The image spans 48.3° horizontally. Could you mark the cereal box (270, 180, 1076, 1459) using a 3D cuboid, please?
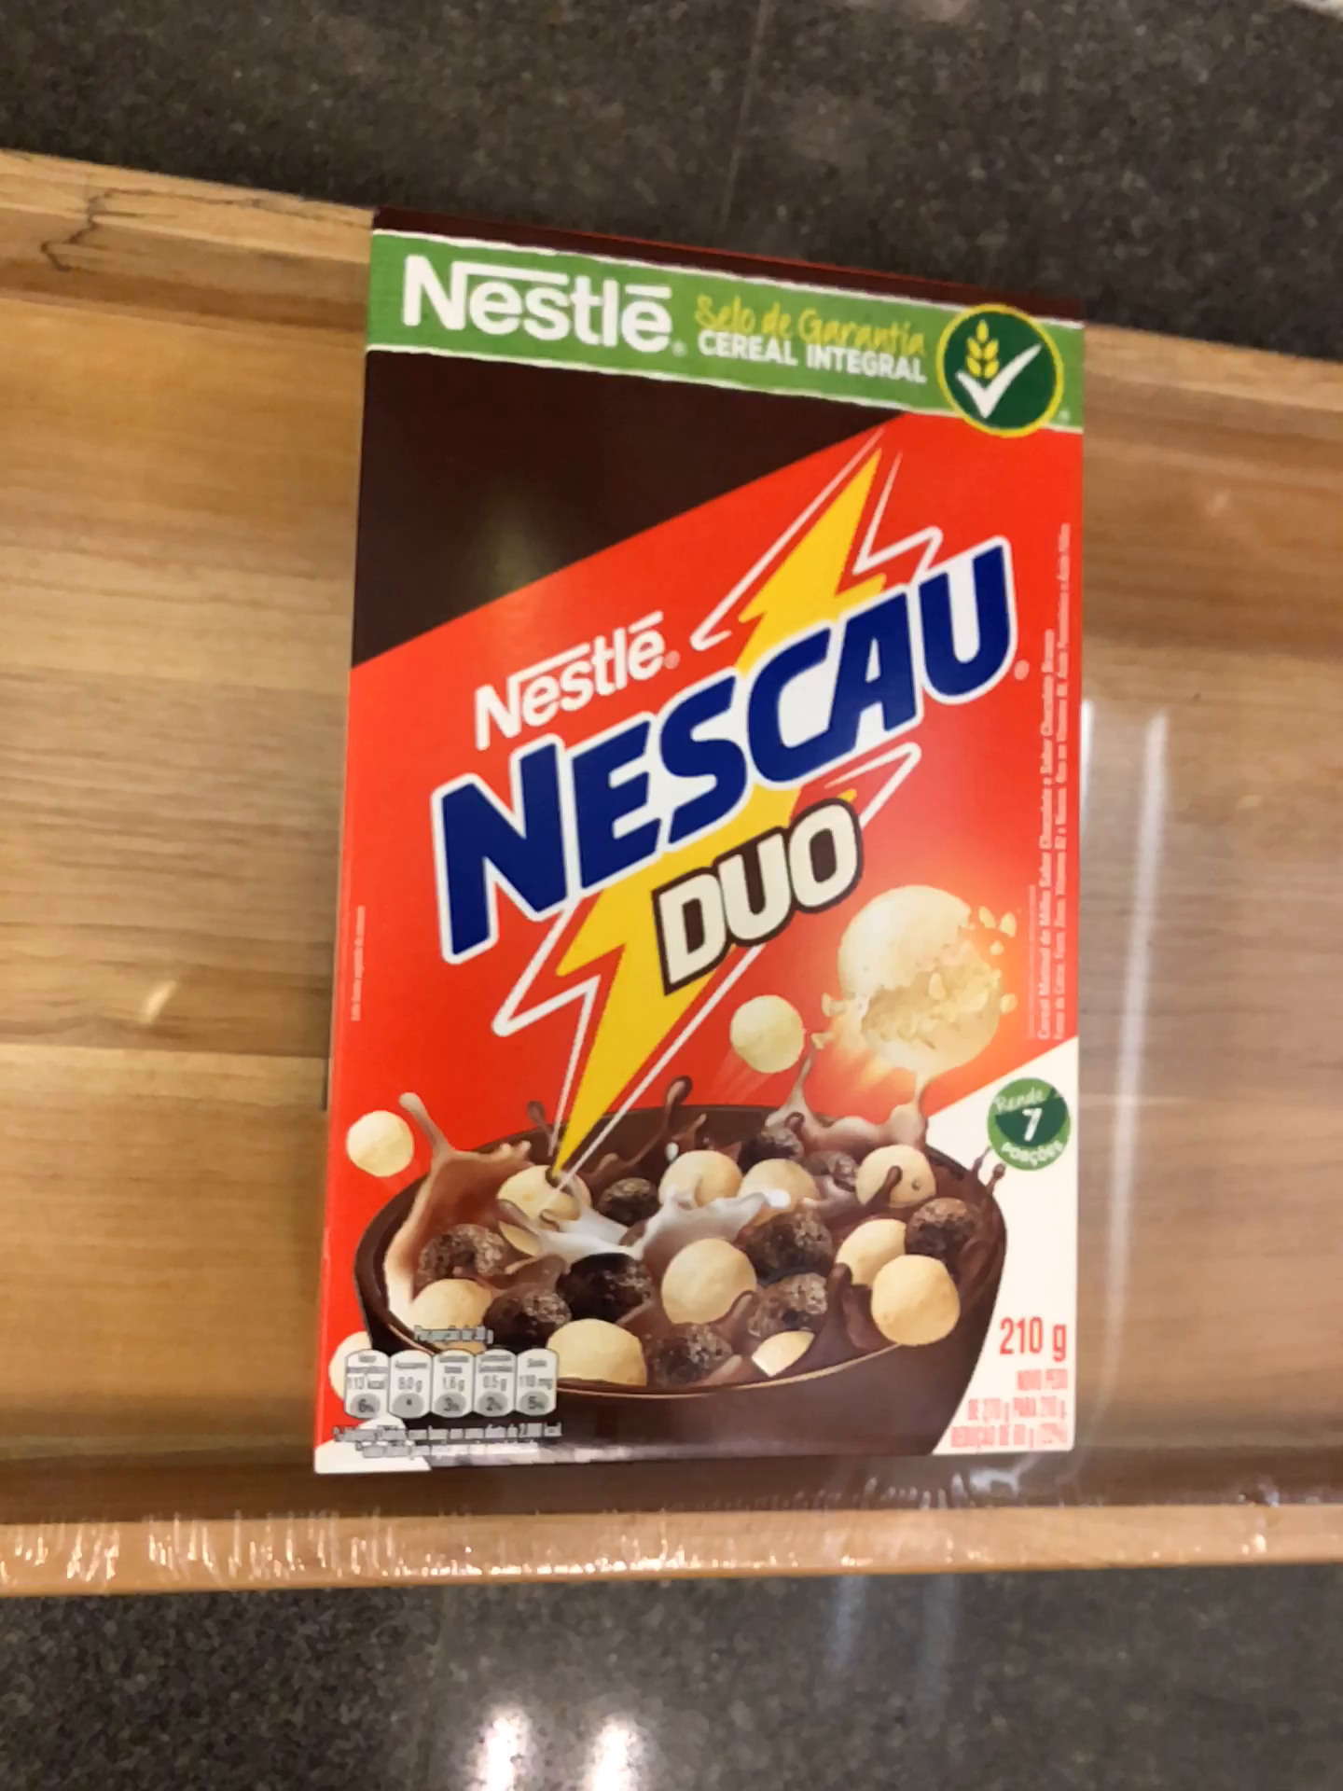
[{"bbox_3d":[0.002,-0.013,0.332,0.160,0.050,0.250,3,86,-12],"label":"cereal box"}]
